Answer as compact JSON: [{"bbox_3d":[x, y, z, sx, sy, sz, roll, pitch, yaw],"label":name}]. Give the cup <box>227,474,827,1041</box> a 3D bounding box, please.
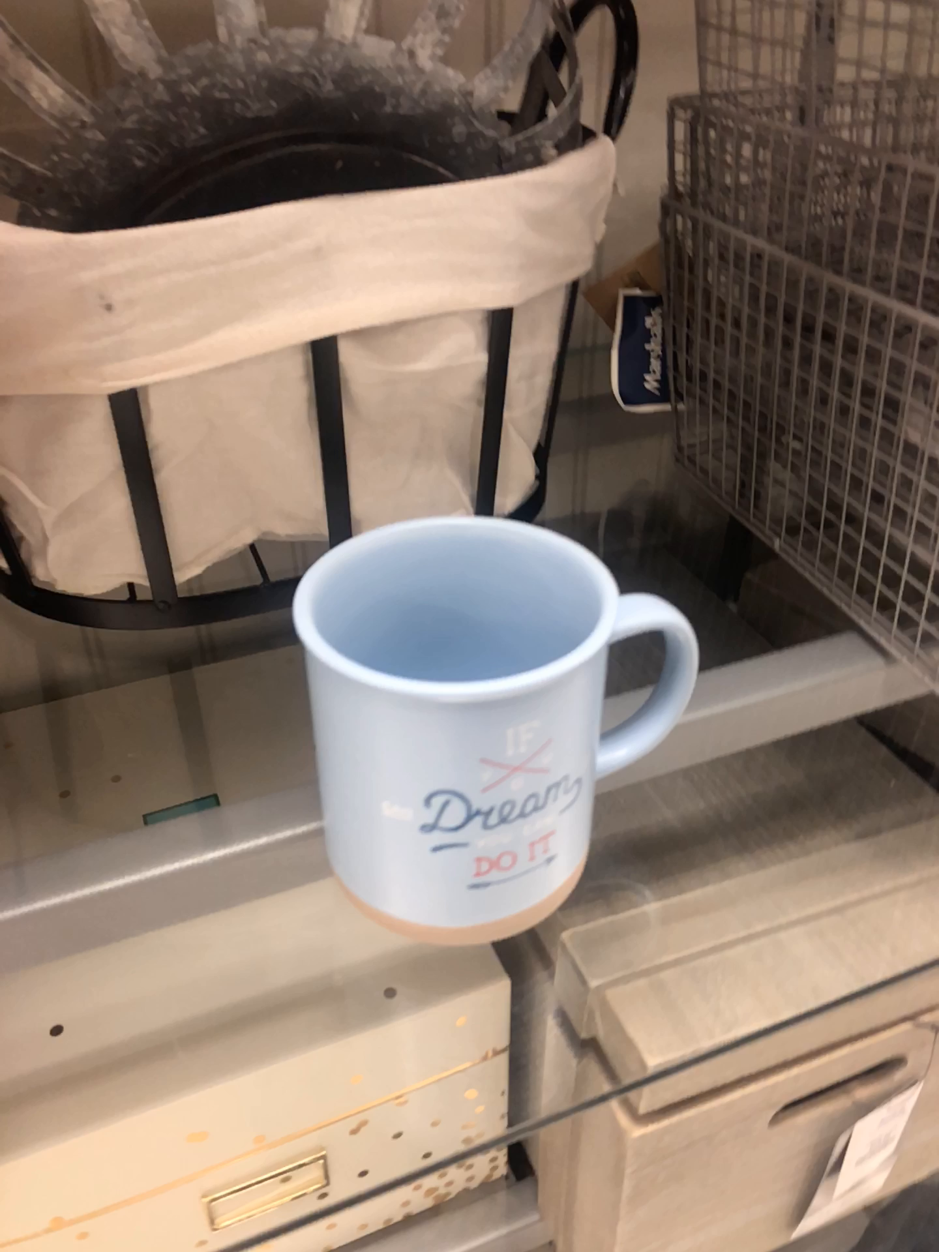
[{"bbox_3d":[0.012,0.032,0.318,0.139,0.100,0.100,-14,37,-18],"label":"cup"}]
